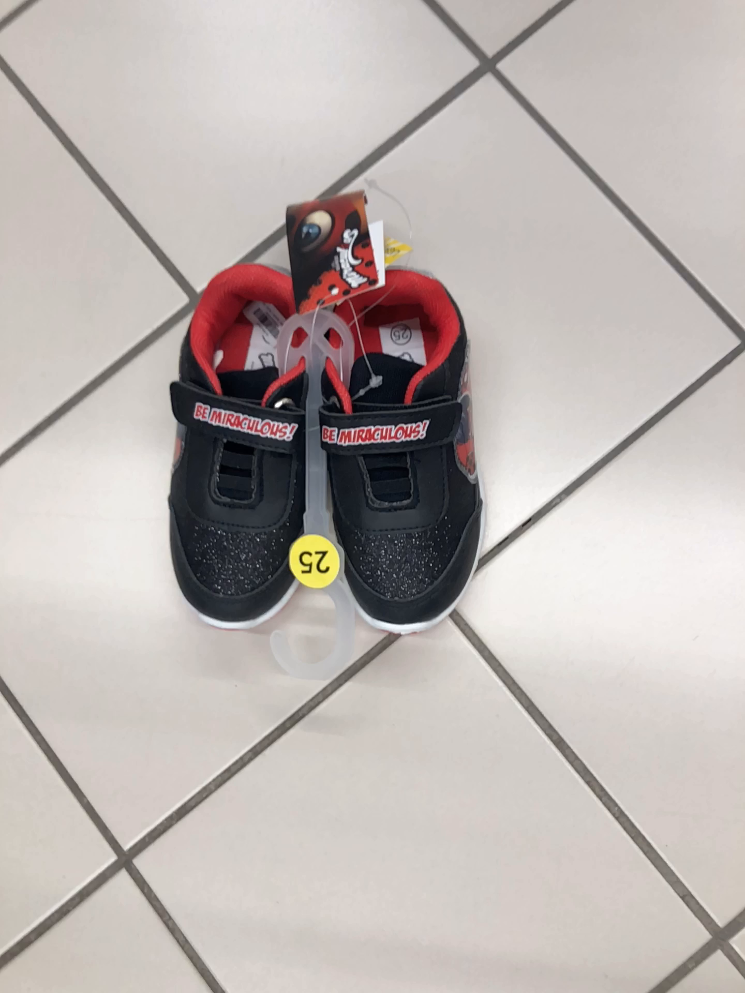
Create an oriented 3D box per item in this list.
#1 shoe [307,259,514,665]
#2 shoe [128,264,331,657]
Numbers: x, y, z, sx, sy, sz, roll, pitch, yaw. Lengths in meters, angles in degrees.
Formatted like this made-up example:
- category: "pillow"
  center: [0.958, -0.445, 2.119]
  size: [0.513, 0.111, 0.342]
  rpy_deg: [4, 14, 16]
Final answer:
- category: "shoe"
  center: [0.017, -0.012, 0.380]
  size: [0.077, 0.071, 0.168]
  rpy_deg: [-4, 83, 4]
- category: "shoe"
  center: [-0.061, -0.013, 0.380]
  size: [0.075, 0.070, 0.166]
  rpy_deg: [-1, 83, 4]
